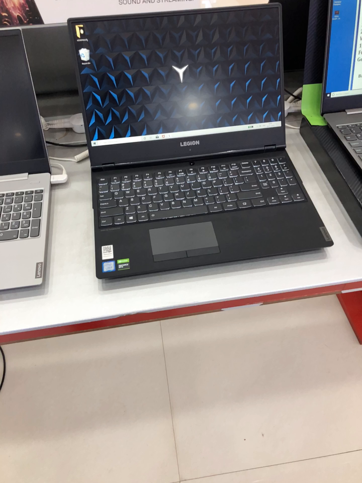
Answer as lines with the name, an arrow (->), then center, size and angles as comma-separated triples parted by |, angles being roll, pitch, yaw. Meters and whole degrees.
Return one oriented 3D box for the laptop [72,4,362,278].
laptop -> 0.027, -0.168, 0.593 | 0.334, 0.191, 0.349 | -8, 51, -6
